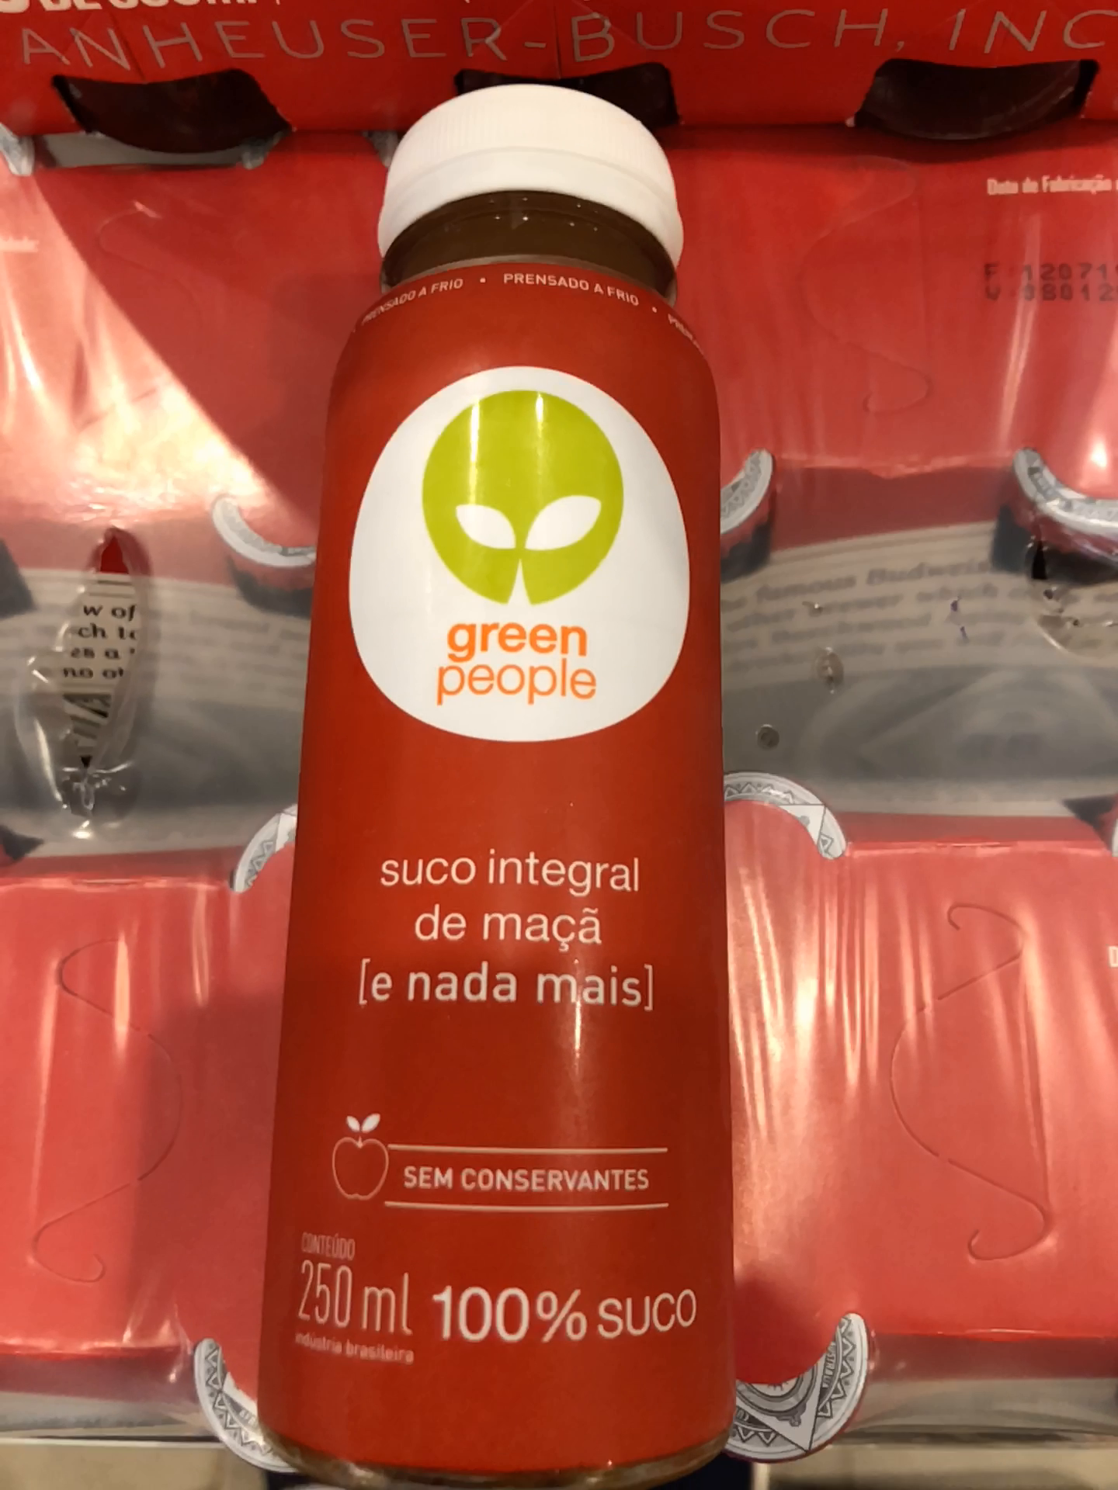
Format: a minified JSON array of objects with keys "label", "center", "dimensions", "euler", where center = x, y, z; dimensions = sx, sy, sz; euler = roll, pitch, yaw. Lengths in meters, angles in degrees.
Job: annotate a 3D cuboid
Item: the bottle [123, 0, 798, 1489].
[{"label":"bottle","center":[-0.006,-0.014,0.151],"dimensions":[0.060,0.040,0.180],"euler":[0,77,4]}]
